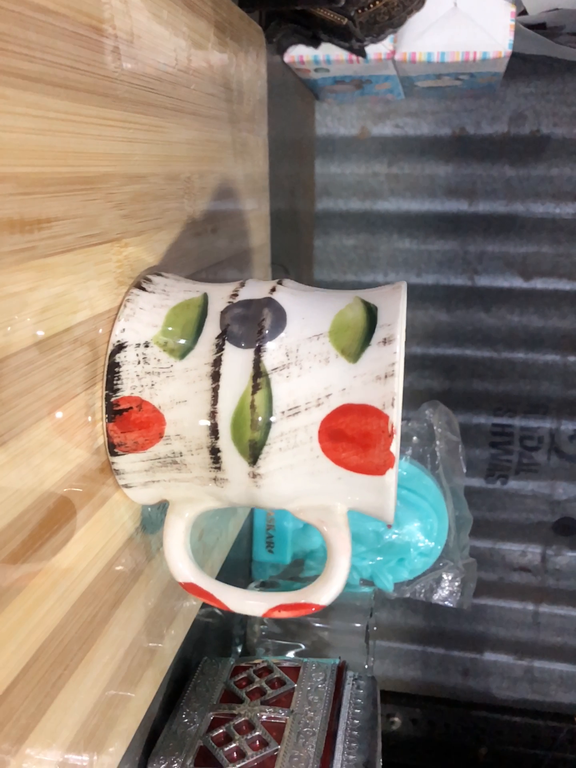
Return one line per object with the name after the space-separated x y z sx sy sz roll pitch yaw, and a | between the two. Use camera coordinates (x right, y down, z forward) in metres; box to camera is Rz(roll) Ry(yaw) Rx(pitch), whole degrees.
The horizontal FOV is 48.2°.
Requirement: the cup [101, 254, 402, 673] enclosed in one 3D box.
-0.007 0.019 0.205 0.060 0.080 0.110 -28 121 -79 | cup
